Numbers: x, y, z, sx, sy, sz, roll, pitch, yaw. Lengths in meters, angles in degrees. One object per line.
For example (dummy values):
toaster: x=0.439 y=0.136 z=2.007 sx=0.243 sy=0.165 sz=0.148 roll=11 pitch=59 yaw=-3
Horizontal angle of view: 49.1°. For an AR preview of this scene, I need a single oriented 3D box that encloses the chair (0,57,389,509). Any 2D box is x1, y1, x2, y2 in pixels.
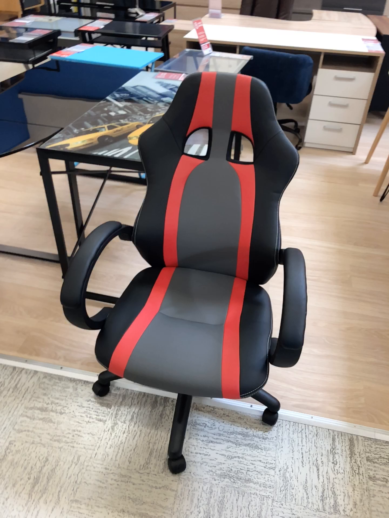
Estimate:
chair: x=0.018 y=0.036 z=1.186 sx=0.690 sy=0.924 sz=0.695 roll=9 pitch=37 yaw=9
